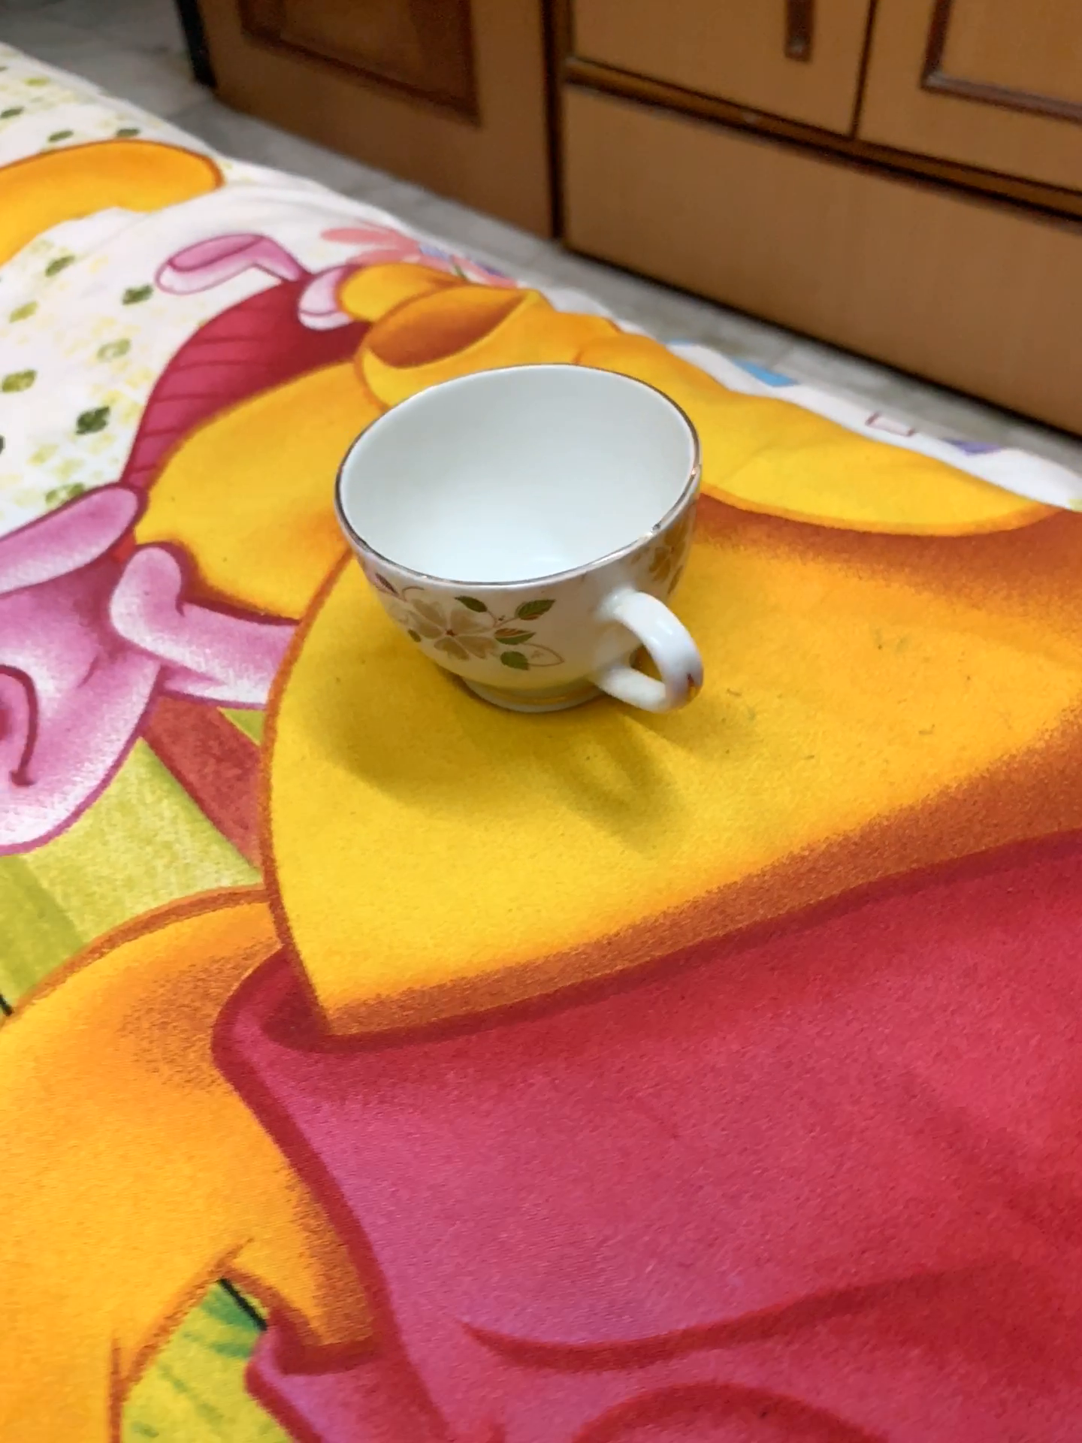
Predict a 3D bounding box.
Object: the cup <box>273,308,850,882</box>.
[{"bbox_3d":[0.003,-0.034,0.261,0.080,0.060,0.101,-29,52,-17],"label":"cup"}]
